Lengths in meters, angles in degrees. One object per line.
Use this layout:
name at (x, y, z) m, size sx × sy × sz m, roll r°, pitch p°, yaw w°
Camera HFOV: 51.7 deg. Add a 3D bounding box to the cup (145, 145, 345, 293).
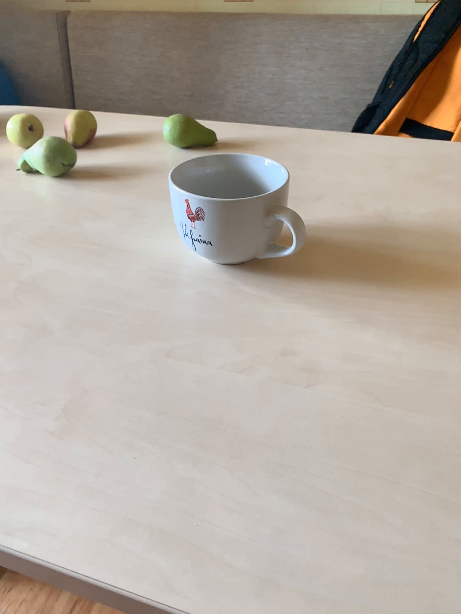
cup at (0.011, -0.083, 0.407) m, size 0.130 × 0.060 × 0.100 m, roll 28°, pitch 46°, yaw 34°
